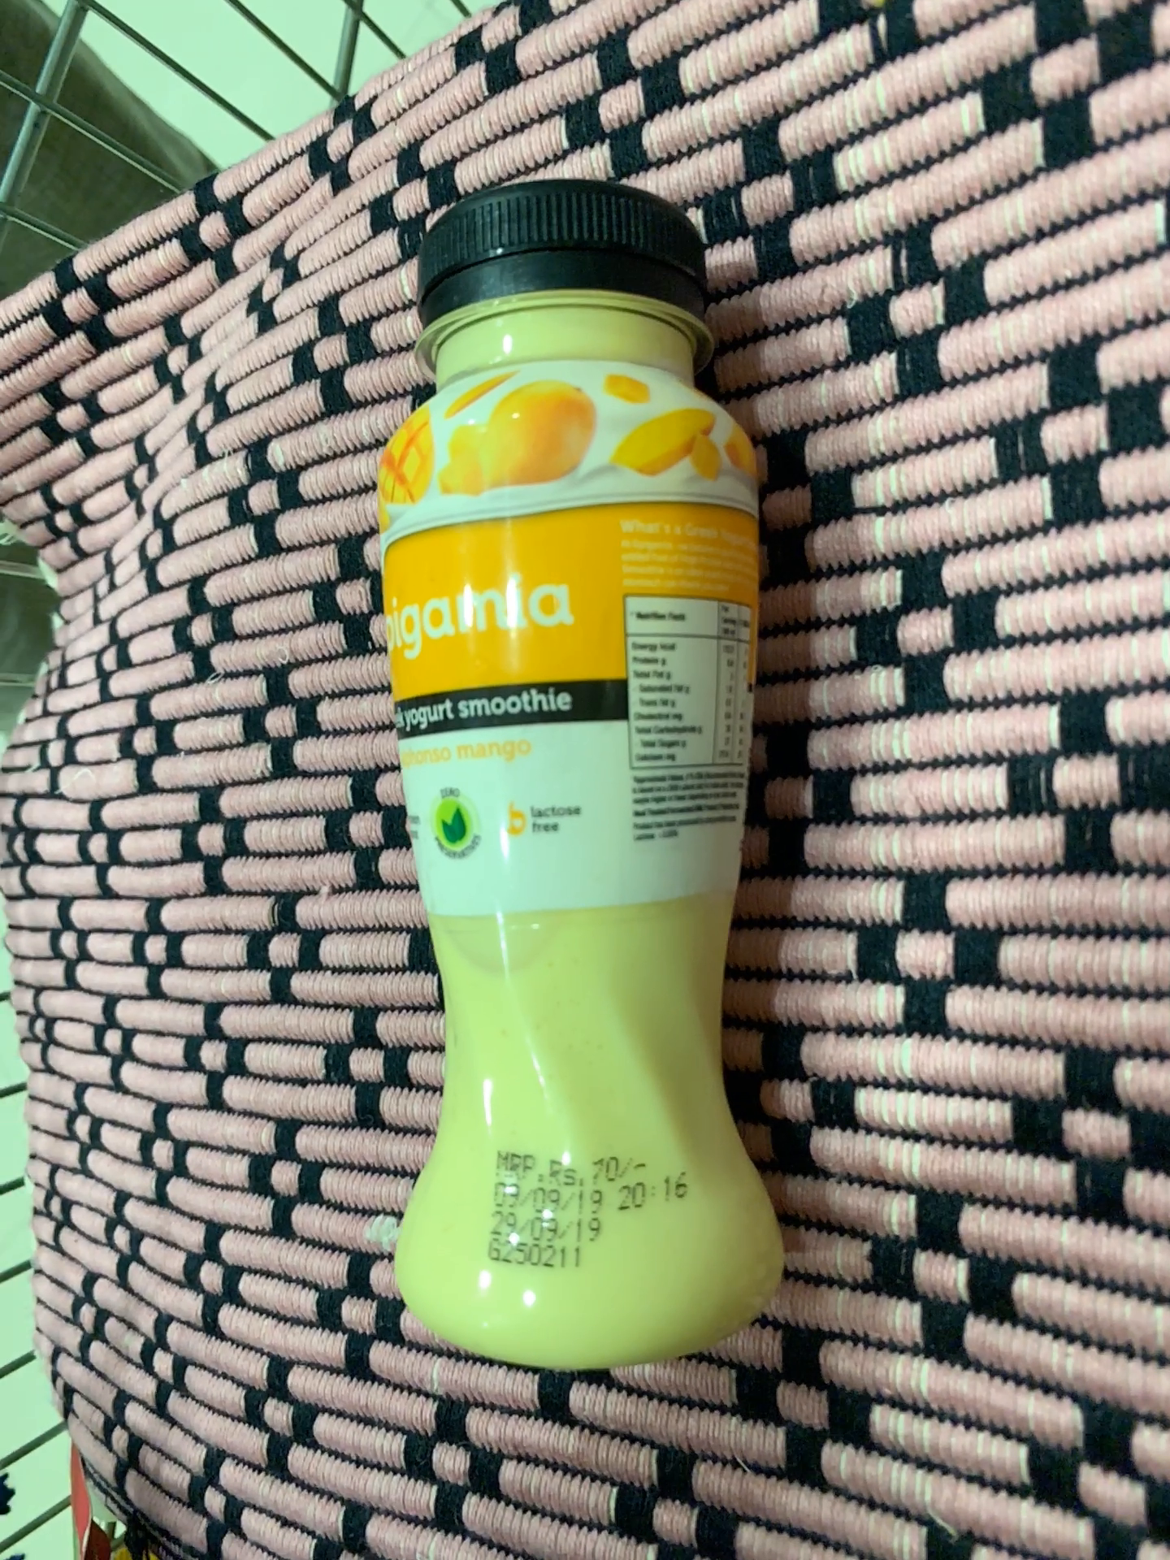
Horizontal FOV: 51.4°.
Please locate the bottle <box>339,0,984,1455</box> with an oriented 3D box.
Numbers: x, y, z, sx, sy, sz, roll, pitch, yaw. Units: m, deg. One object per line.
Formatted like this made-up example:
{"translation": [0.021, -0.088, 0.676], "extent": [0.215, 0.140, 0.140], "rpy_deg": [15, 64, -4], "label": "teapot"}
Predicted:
{"translation": [0.009, -0.010, 0.168], "extent": [0.060, 0.060, 0.160], "rpy_deg": [-5, 85, 48], "label": "bottle"}
